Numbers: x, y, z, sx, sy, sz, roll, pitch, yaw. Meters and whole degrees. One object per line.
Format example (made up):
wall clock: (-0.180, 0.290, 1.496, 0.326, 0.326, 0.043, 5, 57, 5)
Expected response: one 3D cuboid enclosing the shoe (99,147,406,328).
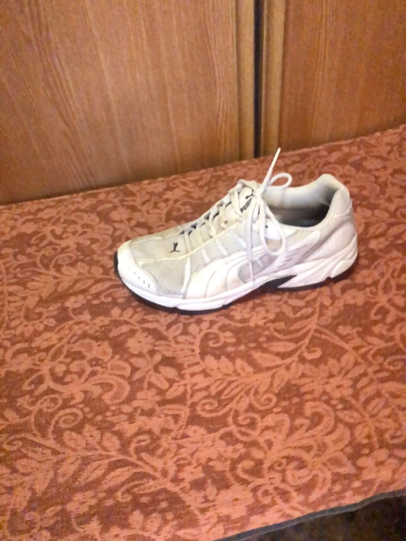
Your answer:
shoe: (0.046, -0.038, 0.488, 0.290, 0.100, 0.120, -9, 46, -2)
